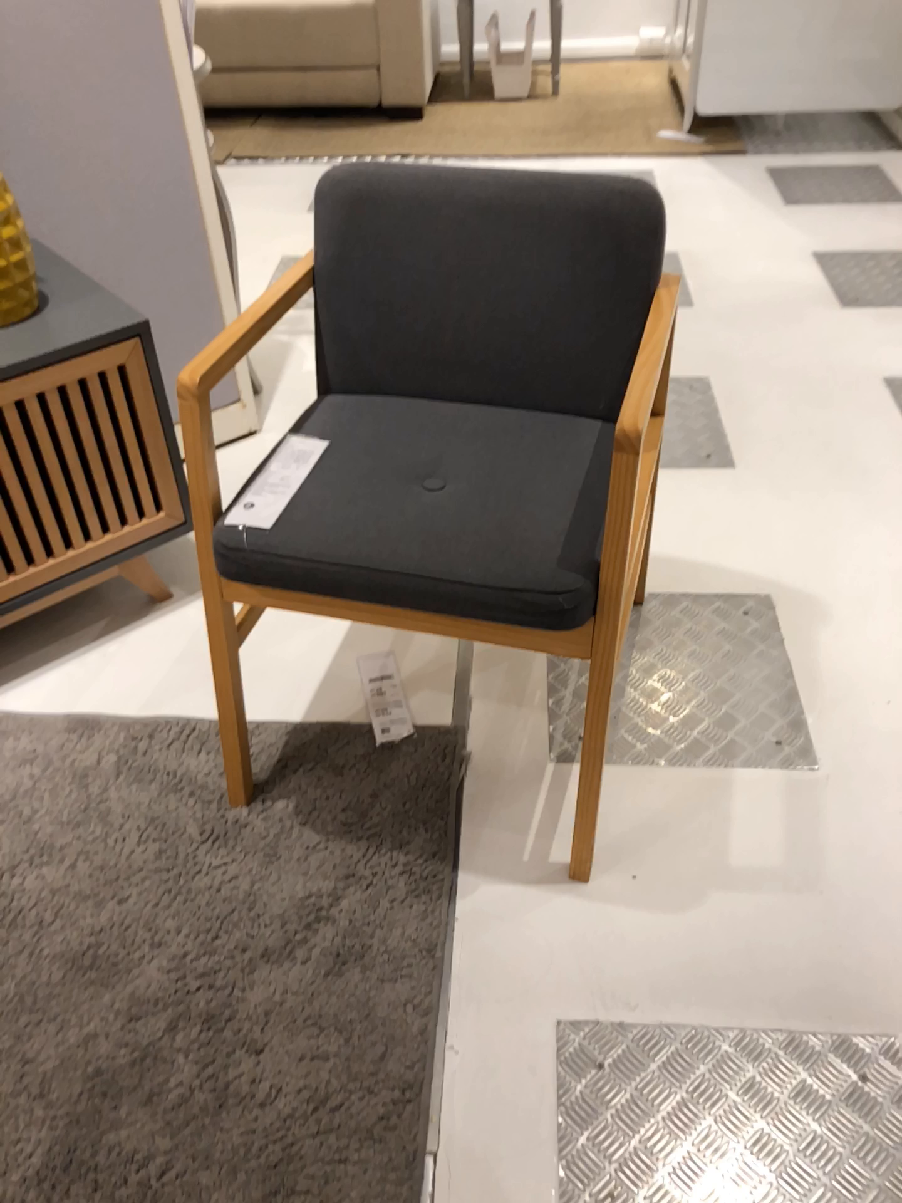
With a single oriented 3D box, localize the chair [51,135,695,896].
[{"bbox_3d":[-0.013,-0.155,1.391,0.560,0.735,0.705,8,41,13],"label":"chair"}]
